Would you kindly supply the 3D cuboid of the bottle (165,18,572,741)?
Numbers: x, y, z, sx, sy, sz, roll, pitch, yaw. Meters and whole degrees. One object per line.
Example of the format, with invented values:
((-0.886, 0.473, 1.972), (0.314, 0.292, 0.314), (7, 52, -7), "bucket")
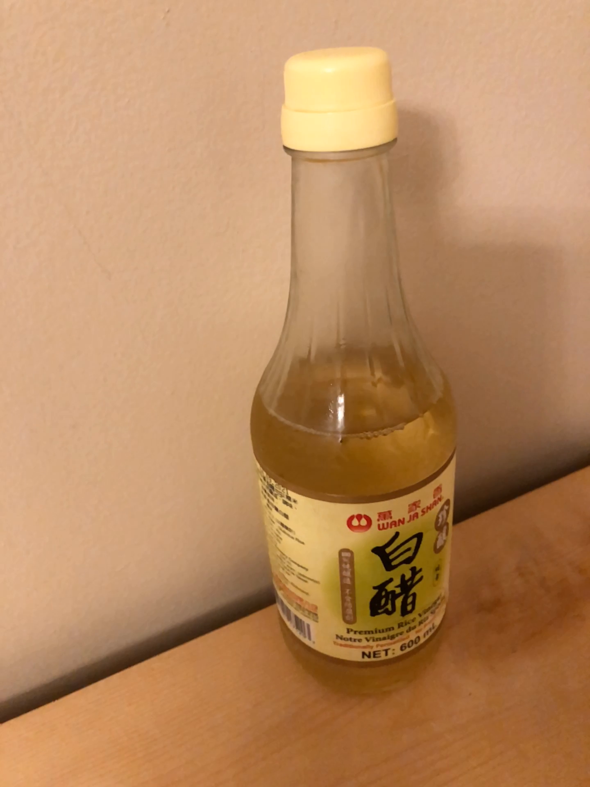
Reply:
((0.025, 0.006, 0.238), (0.080, 0.238, 0.081), (-5, 32, 3), "bottle")
